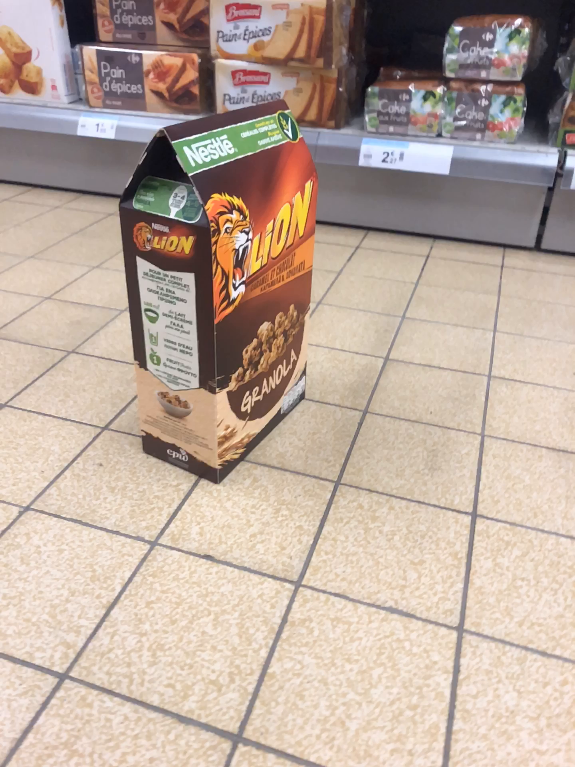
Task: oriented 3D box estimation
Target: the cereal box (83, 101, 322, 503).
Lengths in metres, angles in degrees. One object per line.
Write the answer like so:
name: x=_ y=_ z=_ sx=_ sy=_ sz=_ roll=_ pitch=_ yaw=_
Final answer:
cereal box: x=-0.050 y=-0.064 z=0.472 sx=0.080 sy=0.248 sz=0.151 roll=17 pitch=35 yaw=24
